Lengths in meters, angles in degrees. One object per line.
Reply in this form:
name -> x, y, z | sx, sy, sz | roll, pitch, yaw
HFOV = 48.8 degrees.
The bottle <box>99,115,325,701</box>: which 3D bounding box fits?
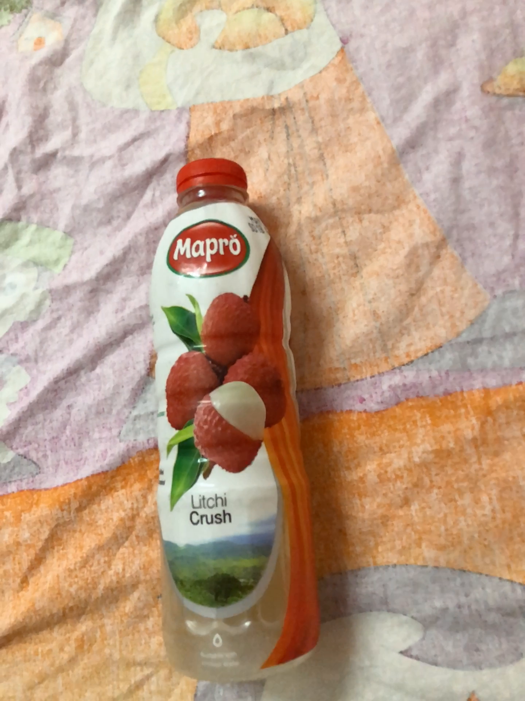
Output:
bottle -> -0.025, 0.027, 0.292 | 0.080, 0.070, 0.260 | -6, 80, 13
